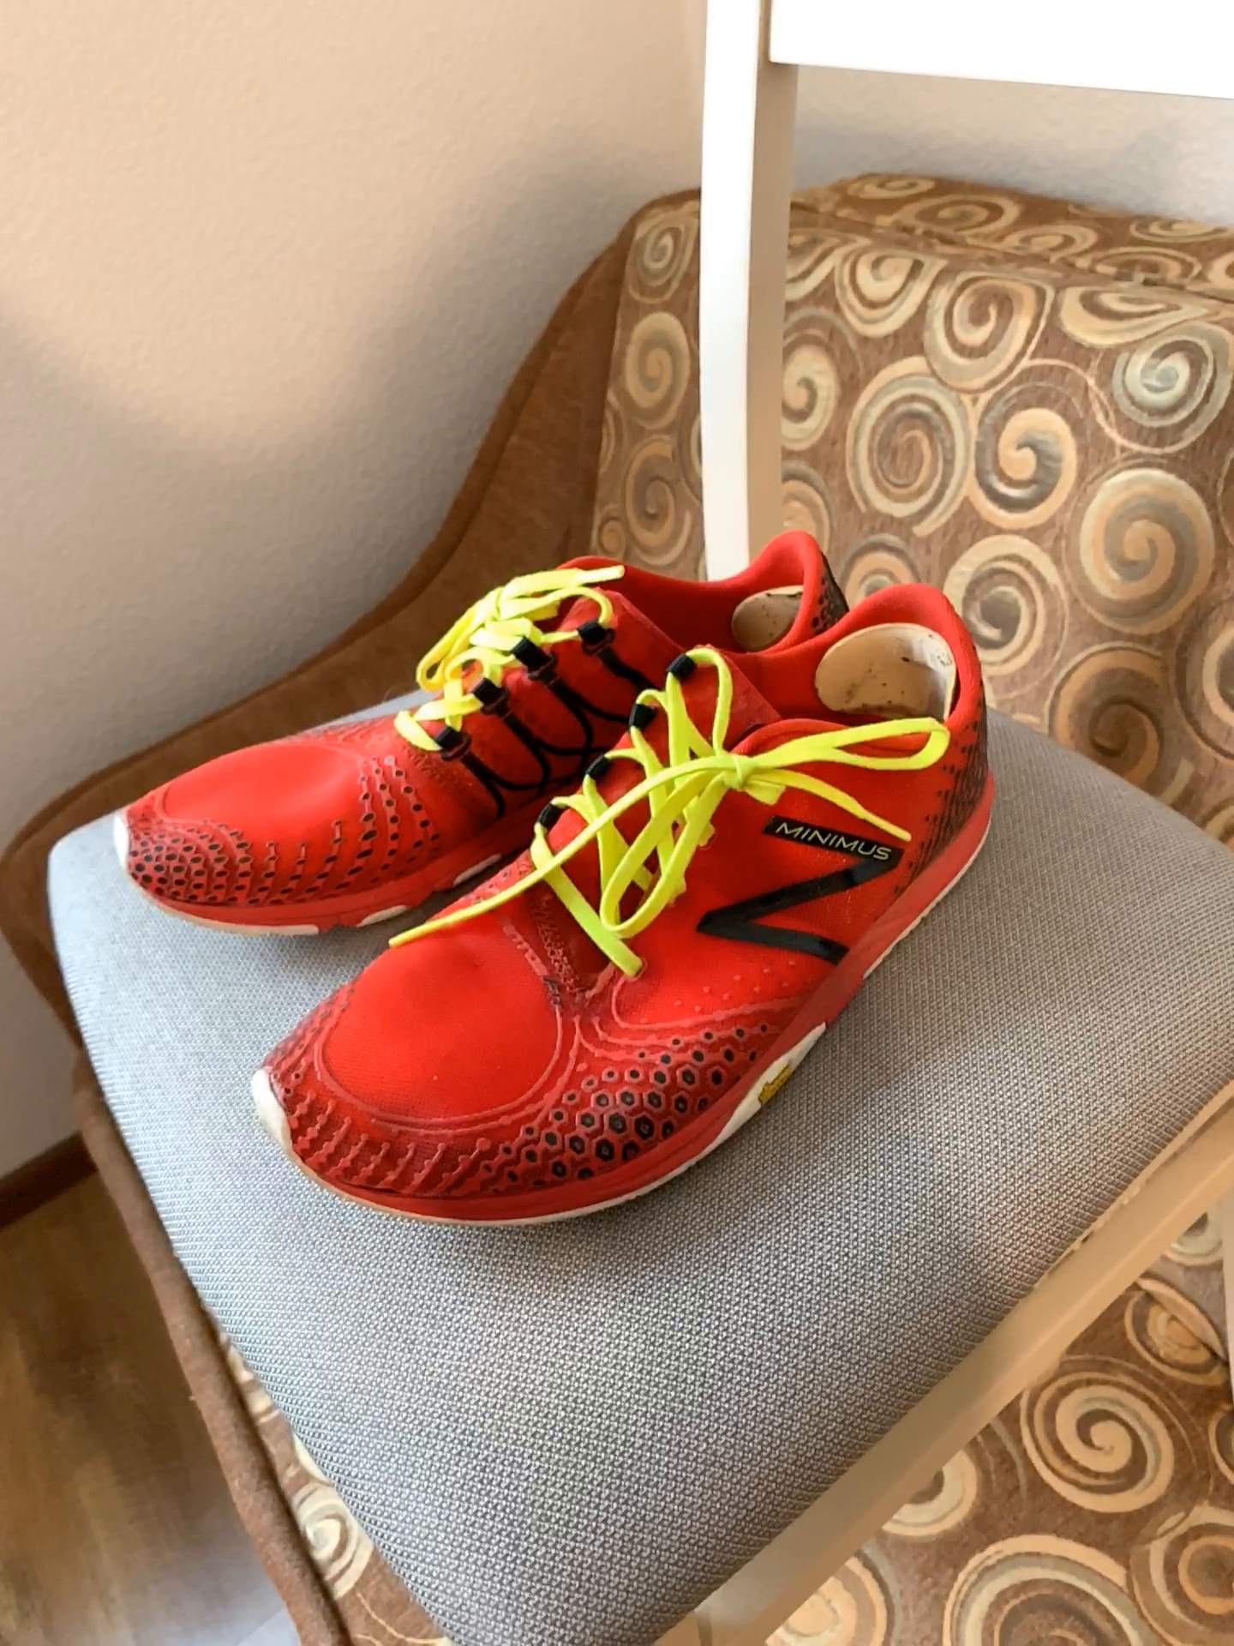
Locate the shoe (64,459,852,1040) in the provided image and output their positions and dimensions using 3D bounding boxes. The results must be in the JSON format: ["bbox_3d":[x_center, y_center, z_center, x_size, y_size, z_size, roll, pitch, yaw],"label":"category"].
[{"bbox_3d":[-0.058,-0.034,0.476,0.260,0.090,0.111,-21,41,-8],"label":"shoe"}]

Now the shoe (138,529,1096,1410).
[{"bbox_3d":[0.014,0.024,0.382,0.260,0.090,0.111,-35,44,-23],"label":"shoe"}]
